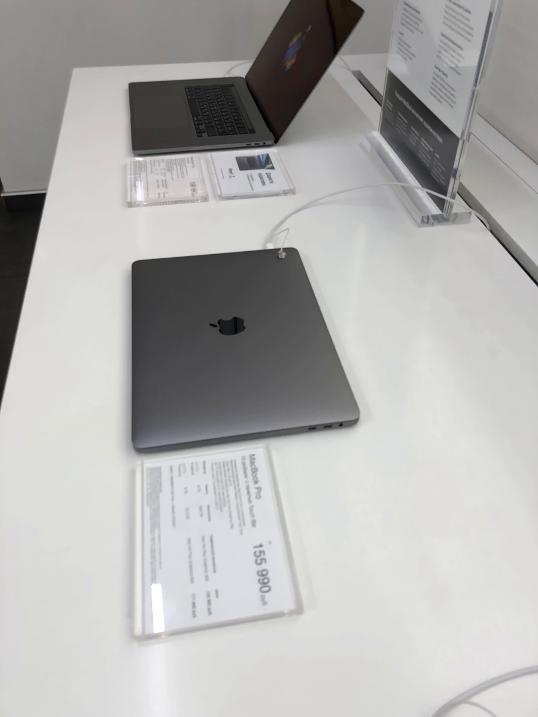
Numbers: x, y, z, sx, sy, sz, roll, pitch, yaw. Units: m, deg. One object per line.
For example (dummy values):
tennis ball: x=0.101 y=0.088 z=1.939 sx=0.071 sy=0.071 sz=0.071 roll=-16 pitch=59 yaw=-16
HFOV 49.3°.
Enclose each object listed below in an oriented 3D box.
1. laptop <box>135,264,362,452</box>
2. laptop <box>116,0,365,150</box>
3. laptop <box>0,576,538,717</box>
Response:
laptop: x=-0.036 y=-0.019 z=0.622 sx=0.202 sy=0.001 sz=0.280 roll=-6 pitch=40 yaw=-6
laptop: x=-0.070 y=-0.560 z=1.073 sx=0.379 sy=0.190 sz=0.350 roll=-8 pitch=42 yaw=-8
laptop: x=0.094 y=0.280 z=0.137 sx=0.276 sy=0.187 sz=0.310 roll=-10 pitch=44 yaw=-9
